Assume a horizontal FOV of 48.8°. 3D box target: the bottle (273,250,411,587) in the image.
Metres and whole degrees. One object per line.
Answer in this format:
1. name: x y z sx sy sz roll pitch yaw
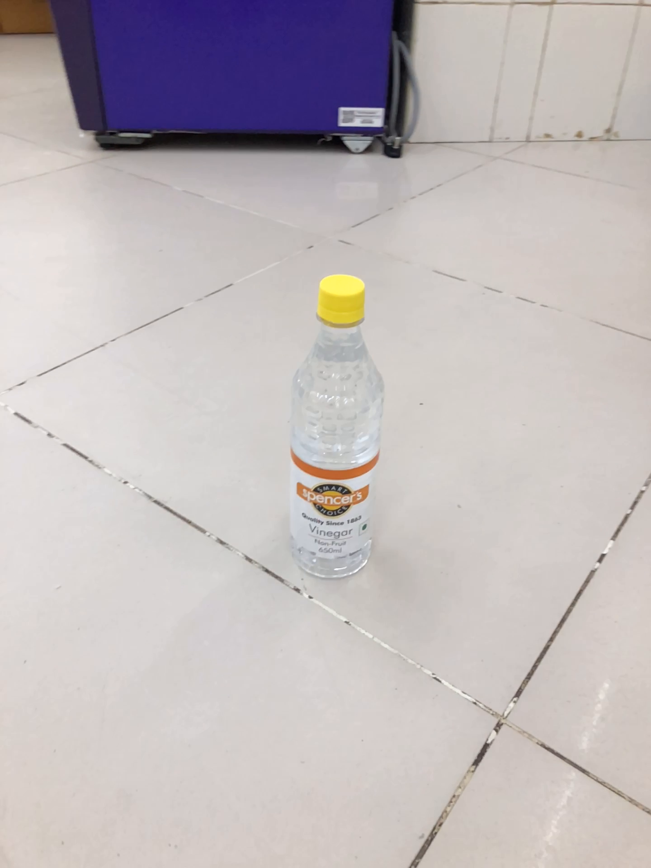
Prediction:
1. bottle: 0.007 -0.002 0.519 0.080 0.238 0.081 1 36 -1
